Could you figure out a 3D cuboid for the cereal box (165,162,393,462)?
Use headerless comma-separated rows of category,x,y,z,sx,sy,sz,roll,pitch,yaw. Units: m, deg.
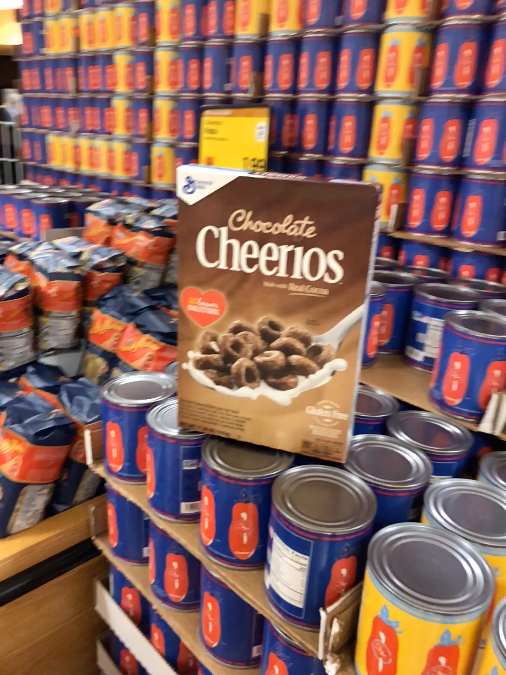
cereal box,0.016,-0.028,0.573,0.210,0.278,0.050,9,20,15
